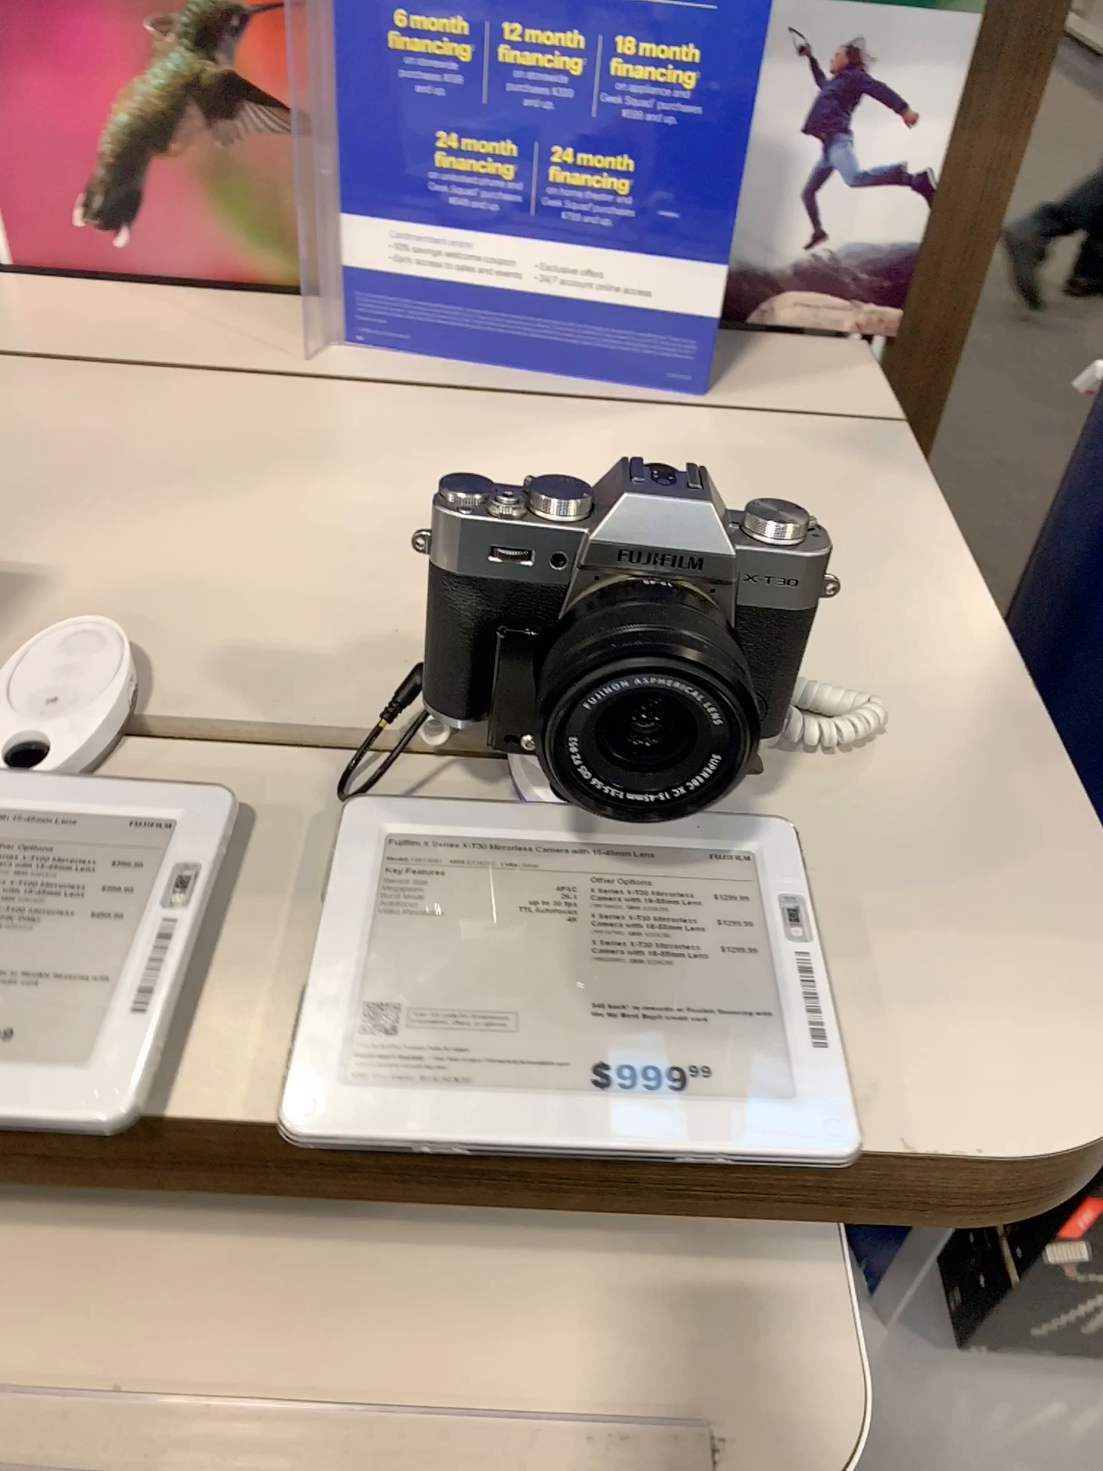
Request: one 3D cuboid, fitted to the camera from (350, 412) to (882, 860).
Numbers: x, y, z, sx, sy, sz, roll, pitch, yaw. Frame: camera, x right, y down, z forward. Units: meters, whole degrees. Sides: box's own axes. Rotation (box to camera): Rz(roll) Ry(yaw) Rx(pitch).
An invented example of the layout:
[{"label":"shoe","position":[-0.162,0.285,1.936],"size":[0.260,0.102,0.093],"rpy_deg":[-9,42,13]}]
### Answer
[{"label":"camera","position":[0.016,-0.032,0.340],"size":[0.130,0.080,0.101],"rpy_deg":[4,42,0]}]
